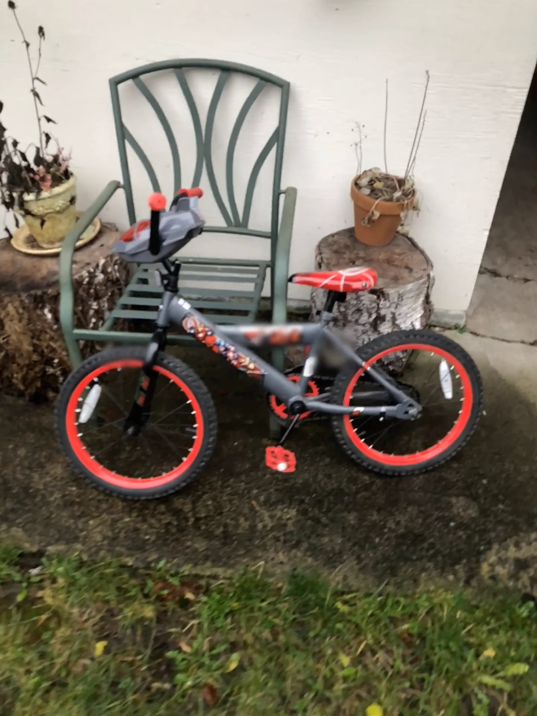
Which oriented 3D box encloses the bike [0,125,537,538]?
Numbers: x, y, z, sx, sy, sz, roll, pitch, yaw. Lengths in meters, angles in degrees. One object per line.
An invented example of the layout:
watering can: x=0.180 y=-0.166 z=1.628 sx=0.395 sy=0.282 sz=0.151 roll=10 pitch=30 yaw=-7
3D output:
bike: x=0.009 y=-0.065 z=1.582 sx=1.199 sy=0.853 sz=0.604 roll=-3 pitch=39 yaw=-2
